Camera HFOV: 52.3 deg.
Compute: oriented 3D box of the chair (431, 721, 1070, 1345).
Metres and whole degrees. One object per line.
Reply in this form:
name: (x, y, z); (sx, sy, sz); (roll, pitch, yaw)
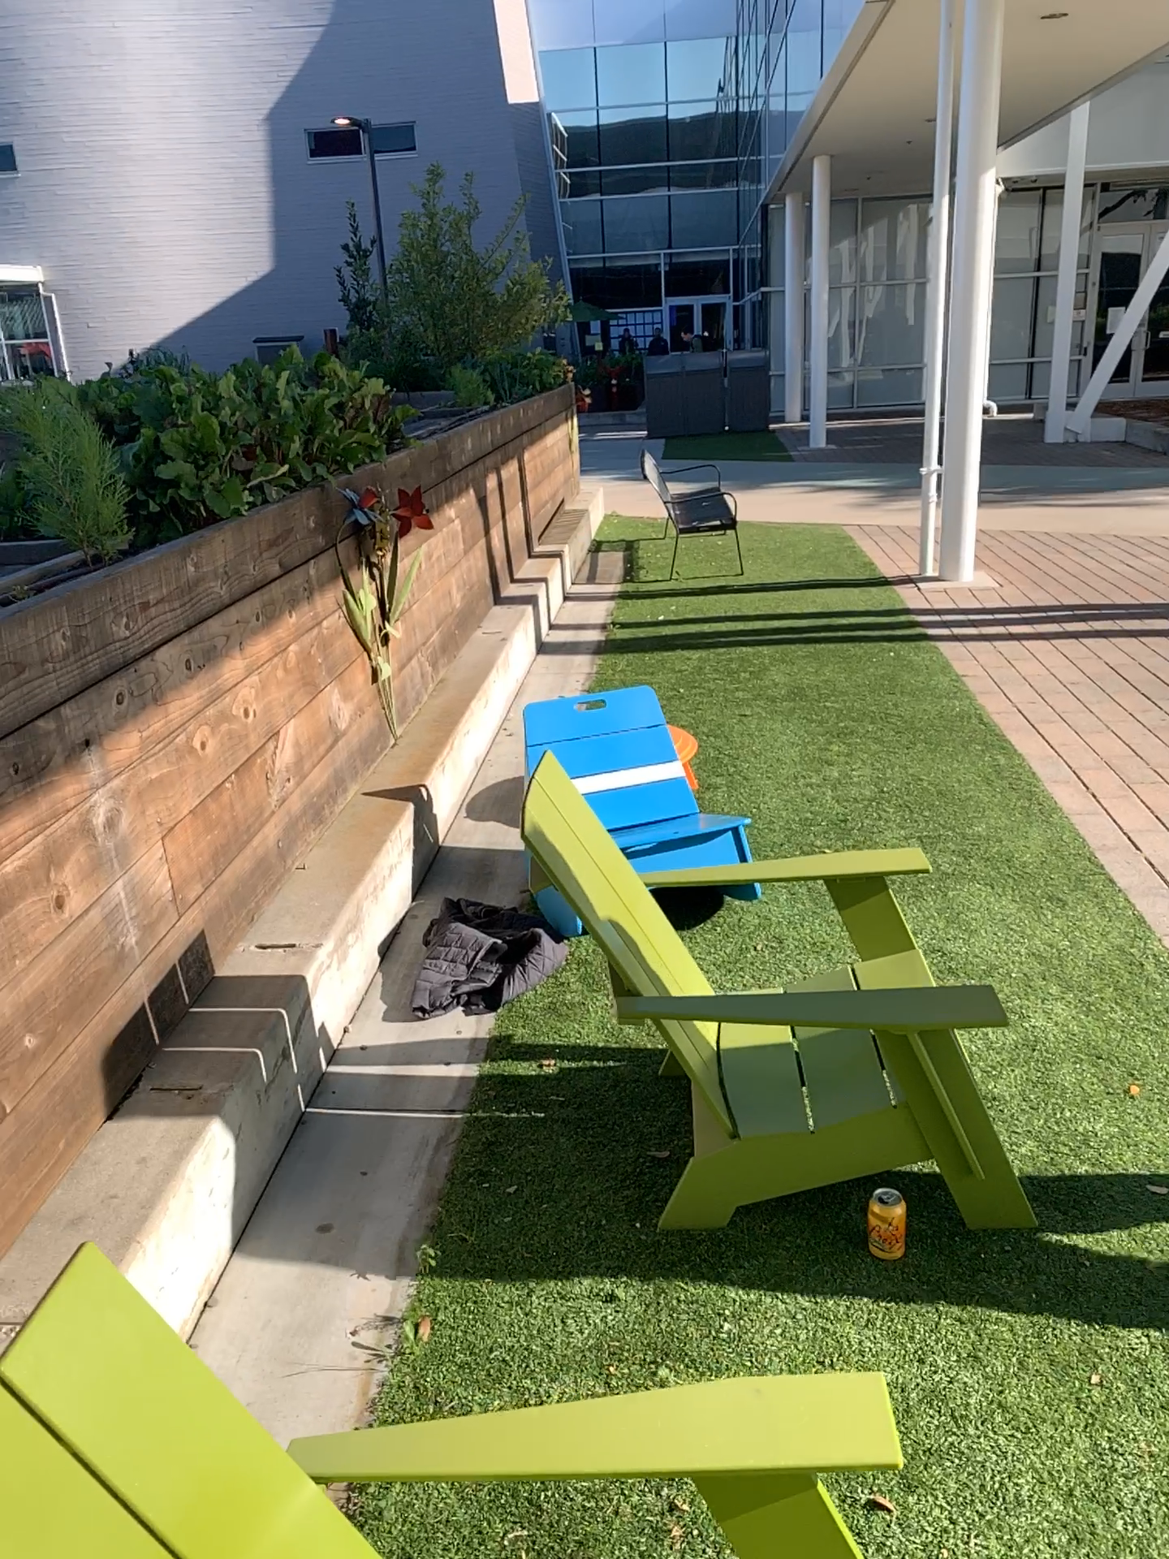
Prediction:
chair: (0.307, 0.449, 2.430); (1.000, 0.896, 0.854); (-1, 20, 6)
